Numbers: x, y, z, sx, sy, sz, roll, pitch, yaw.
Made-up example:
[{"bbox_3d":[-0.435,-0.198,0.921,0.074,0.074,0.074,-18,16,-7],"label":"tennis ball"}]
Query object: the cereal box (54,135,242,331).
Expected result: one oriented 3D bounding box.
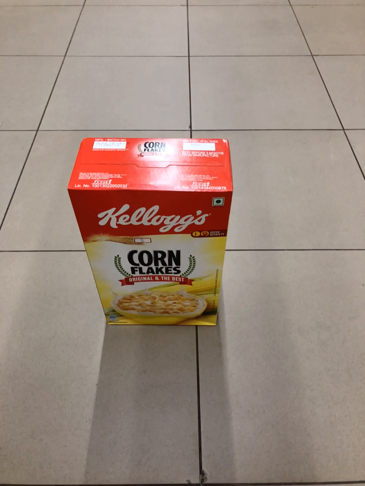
[{"bbox_3d":[-0.036,0.008,0.582,0.200,0.318,0.101,0,51,0],"label":"cereal box"}]
